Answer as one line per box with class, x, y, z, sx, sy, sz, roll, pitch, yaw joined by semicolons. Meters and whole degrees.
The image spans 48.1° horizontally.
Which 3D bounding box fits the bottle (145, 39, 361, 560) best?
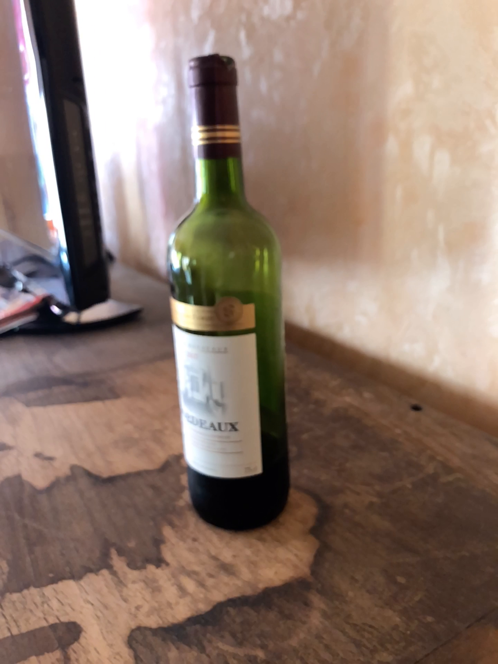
bottle;0.009;-0.015;0.355;0.090;0.289;0.080;11;22;33
